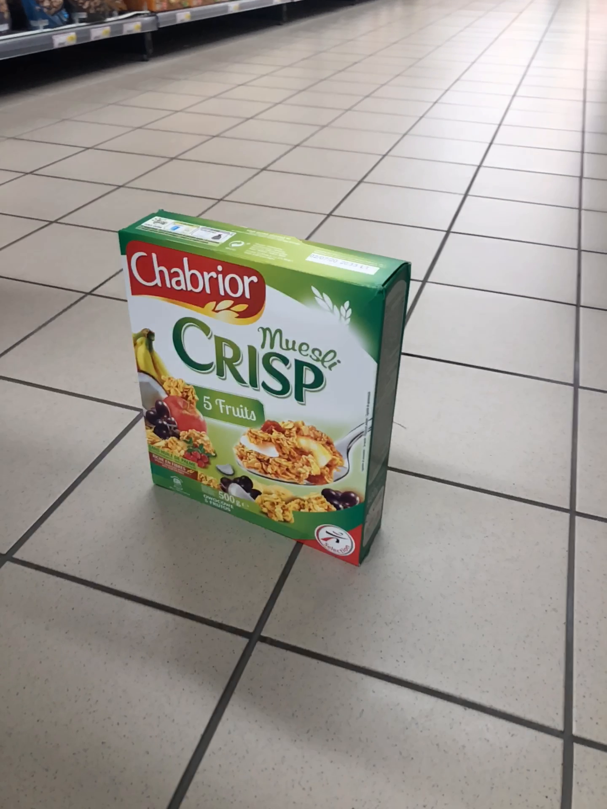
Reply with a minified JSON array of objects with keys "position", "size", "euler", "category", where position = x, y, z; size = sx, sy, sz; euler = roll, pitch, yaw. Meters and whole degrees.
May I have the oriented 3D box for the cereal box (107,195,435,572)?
[{"position":[-0.026,-0.015,0.473],"size":[0.200,0.219,0.060],"euler":[18,37,22],"category":"cereal box"}]
